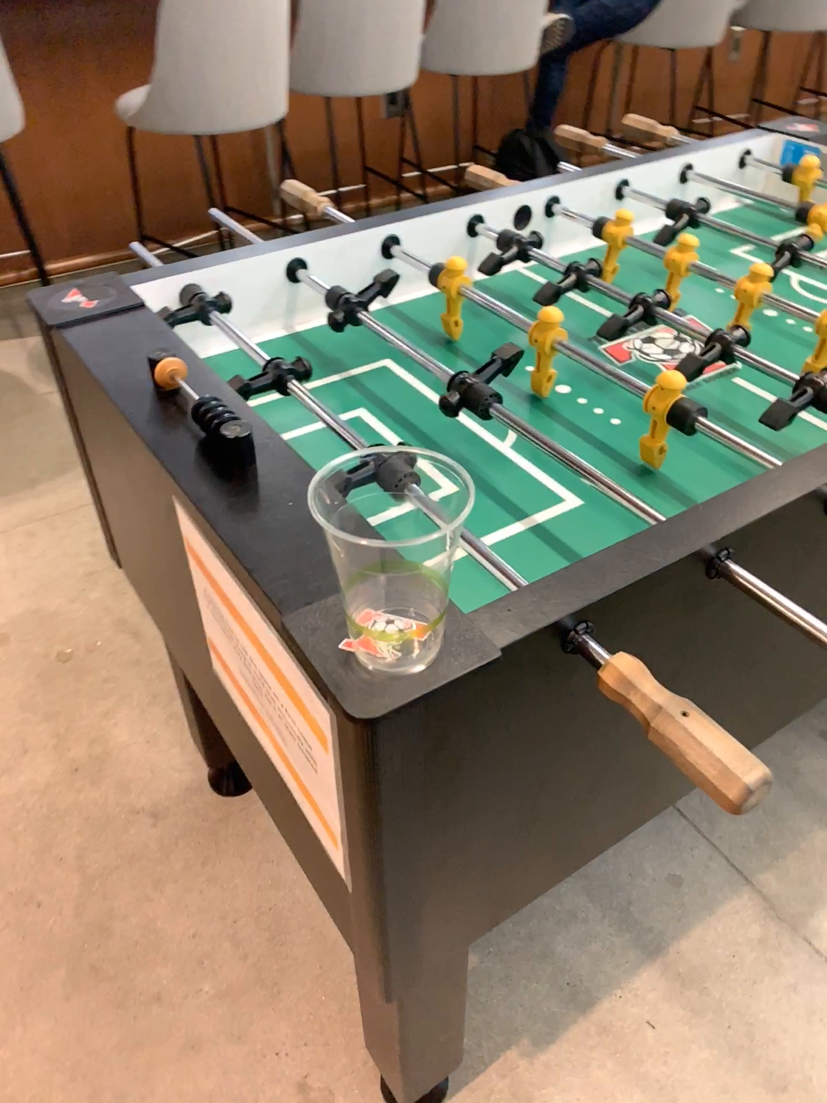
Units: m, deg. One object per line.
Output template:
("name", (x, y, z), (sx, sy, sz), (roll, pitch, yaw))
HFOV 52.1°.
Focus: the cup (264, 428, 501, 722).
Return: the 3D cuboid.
("cup", (-0.020, 0.012, 0.518), (0.100, 0.119, 0.101), (0, 39, 0))
